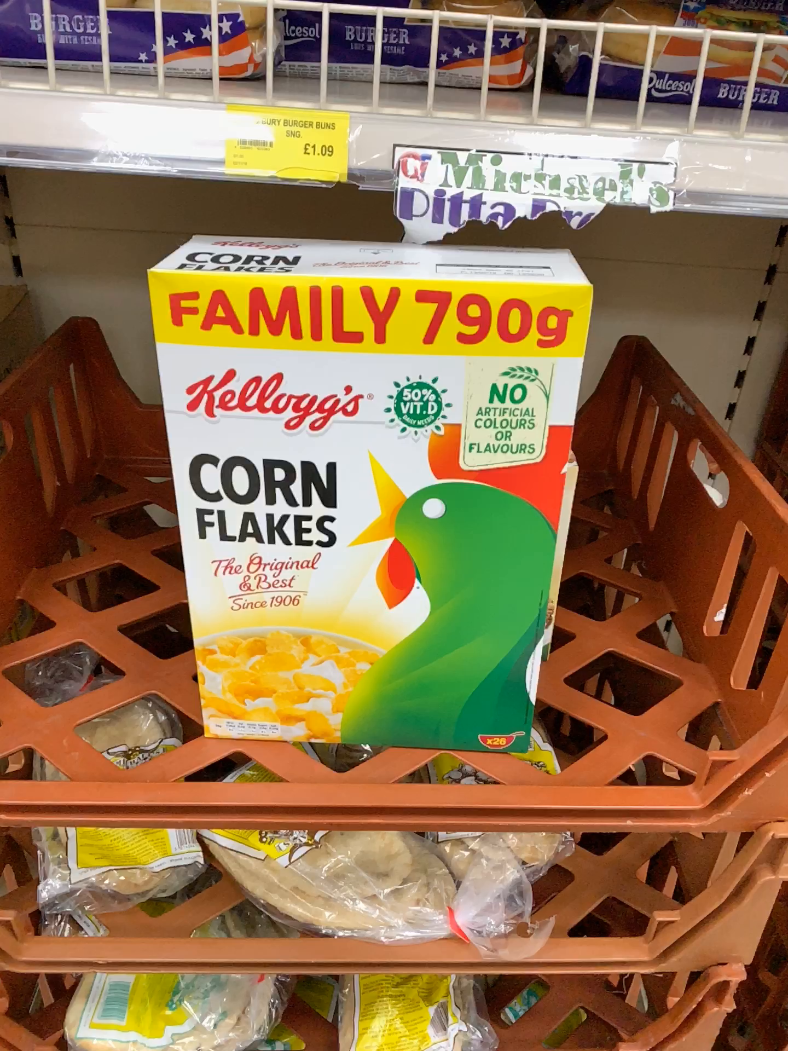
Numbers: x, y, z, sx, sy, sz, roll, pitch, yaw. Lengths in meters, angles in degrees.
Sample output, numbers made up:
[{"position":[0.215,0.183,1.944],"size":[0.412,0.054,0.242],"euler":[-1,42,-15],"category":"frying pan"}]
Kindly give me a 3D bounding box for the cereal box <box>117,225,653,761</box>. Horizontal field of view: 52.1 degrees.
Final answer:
[{"position":[-0.010,-0.005,0.531],"size":[0.270,0.337,0.091],"euler":[3,31,0],"category":"cereal box"}]
